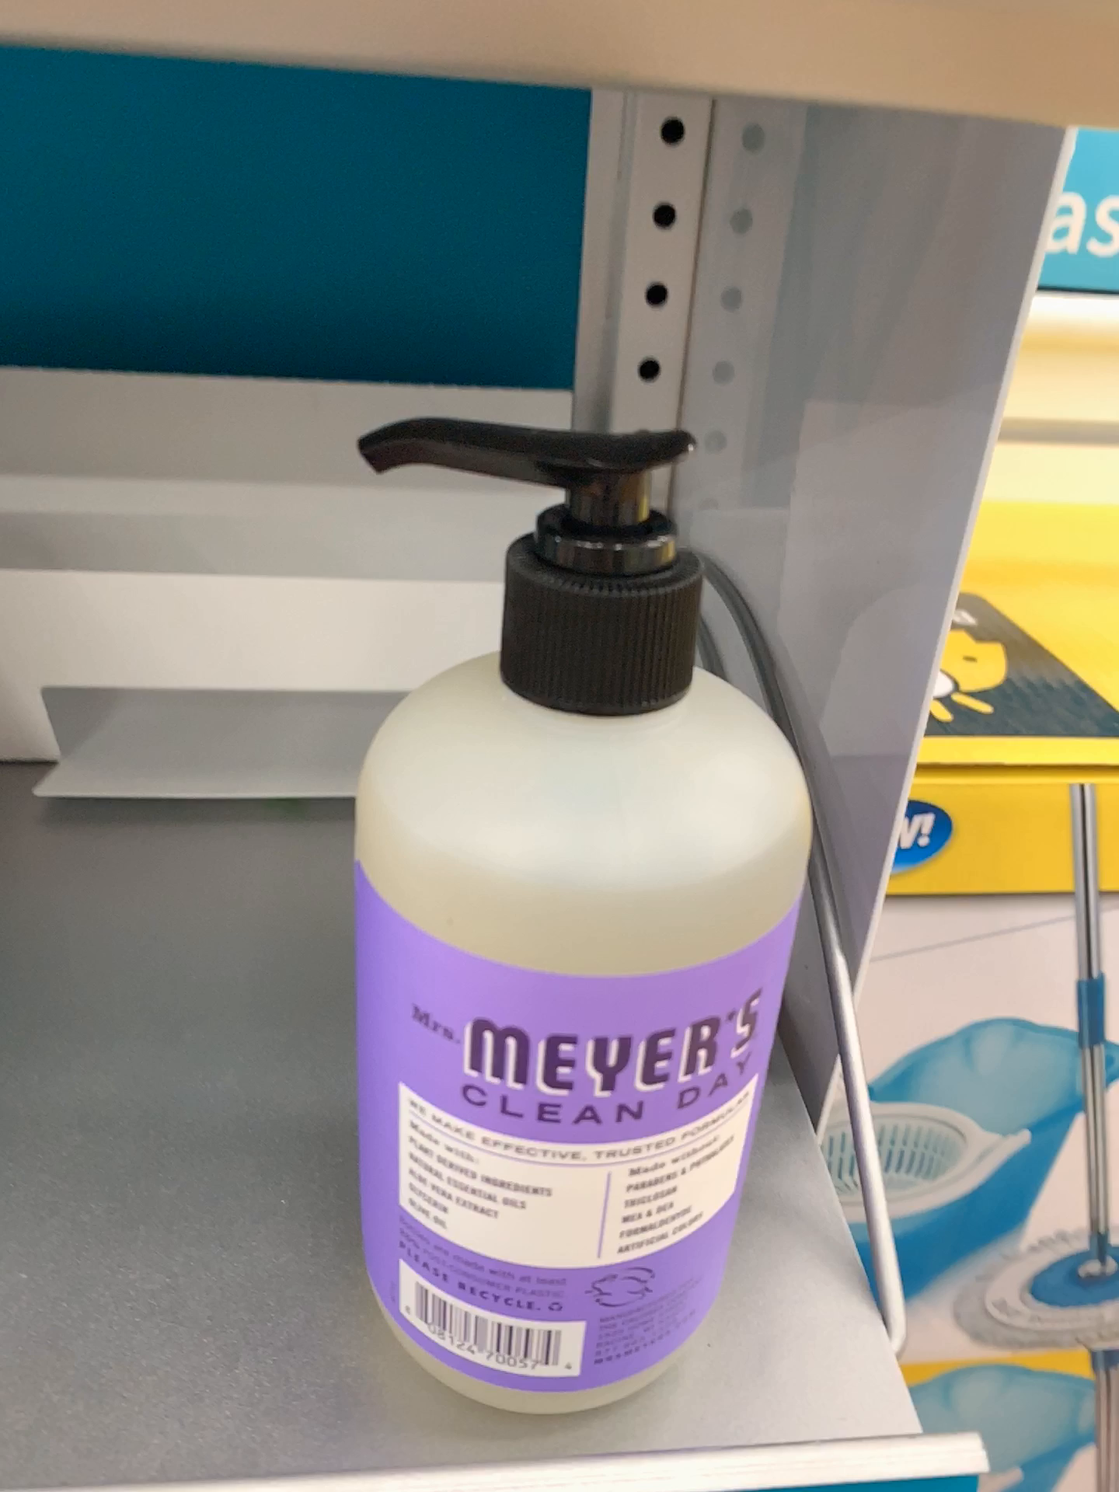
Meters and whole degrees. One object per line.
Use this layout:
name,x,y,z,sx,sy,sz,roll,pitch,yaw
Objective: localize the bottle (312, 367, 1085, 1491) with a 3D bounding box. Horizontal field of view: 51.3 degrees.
bottle,0.006,0.029,0.186,0.080,0.159,0.070,-3,29,-13
